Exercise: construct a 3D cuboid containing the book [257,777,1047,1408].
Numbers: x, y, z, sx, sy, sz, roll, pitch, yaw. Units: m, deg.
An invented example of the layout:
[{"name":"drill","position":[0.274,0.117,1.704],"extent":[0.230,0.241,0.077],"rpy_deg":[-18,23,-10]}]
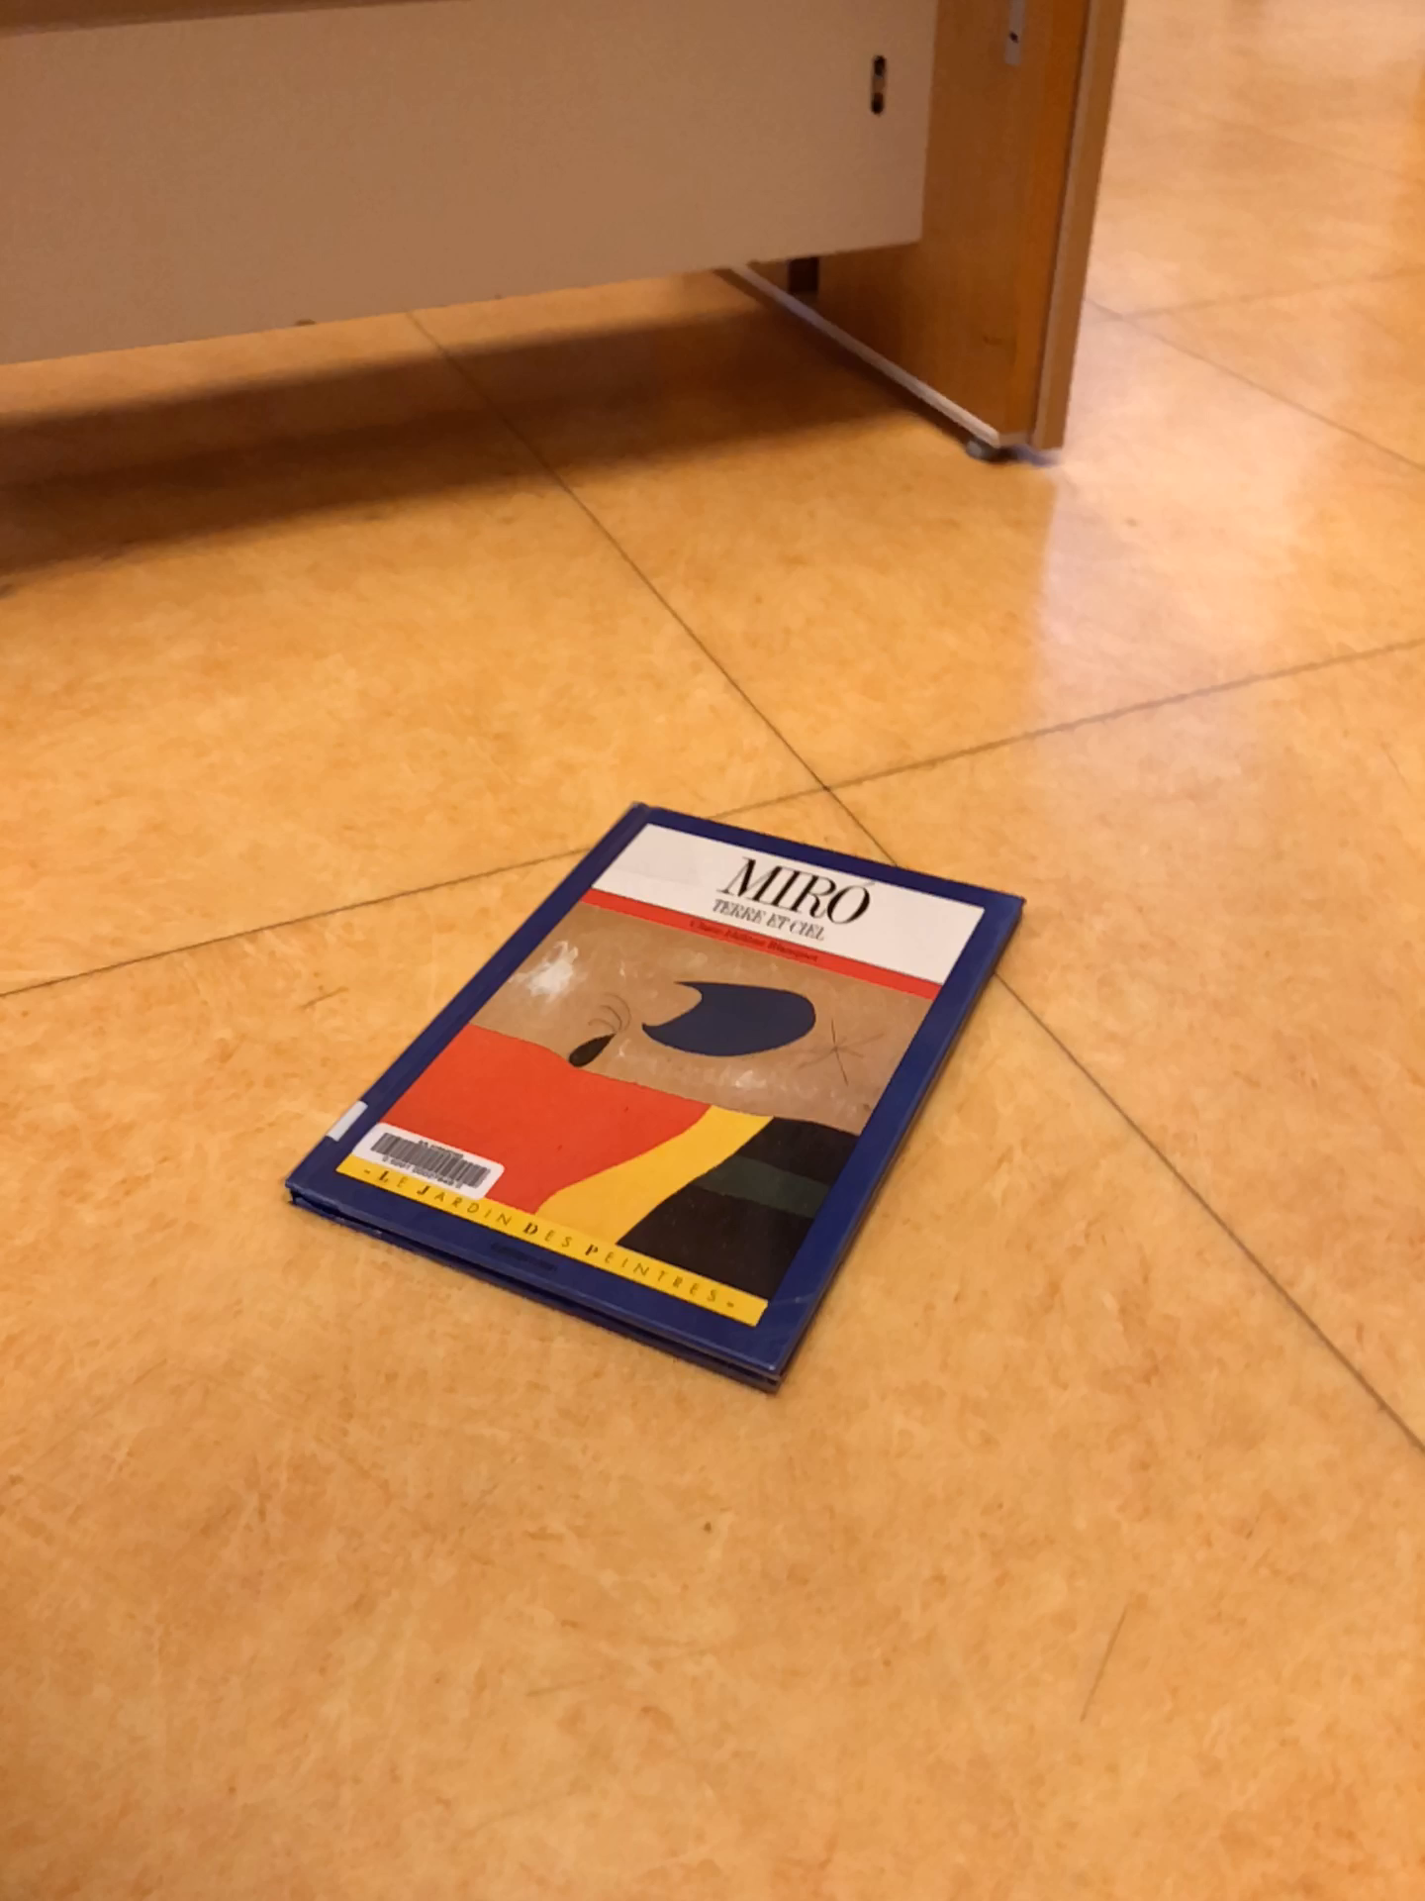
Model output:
[{"name":"book","position":[-0.006,0.026,0.541],"extent":[0.177,0.020,0.247],"rpy_deg":[16,40,20]}]
